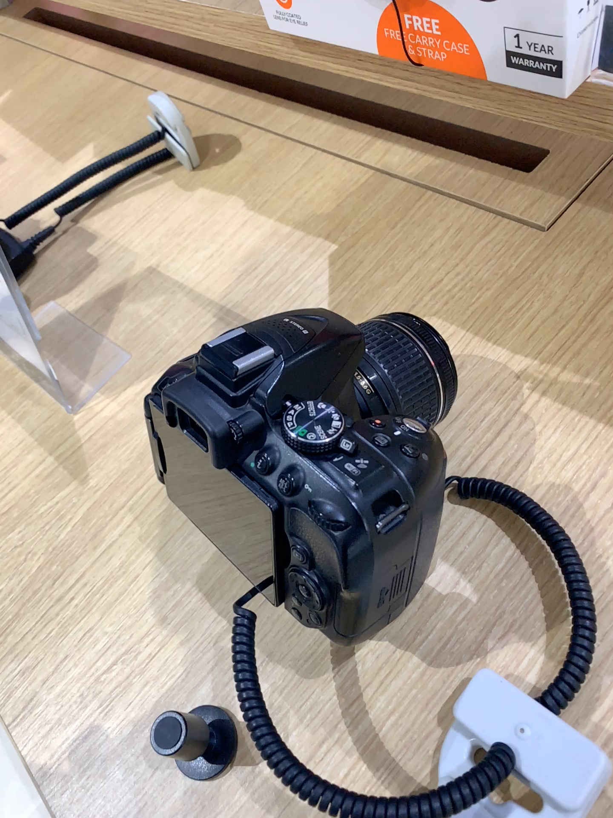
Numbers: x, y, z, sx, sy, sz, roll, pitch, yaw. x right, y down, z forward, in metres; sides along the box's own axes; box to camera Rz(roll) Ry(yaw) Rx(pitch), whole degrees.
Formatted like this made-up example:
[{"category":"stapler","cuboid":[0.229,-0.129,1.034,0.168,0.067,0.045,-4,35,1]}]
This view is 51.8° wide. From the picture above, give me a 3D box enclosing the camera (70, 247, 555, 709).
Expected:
[{"category":"camera","cuboid":[-0.001,0.012,0.246,0.110,0.080,0.130,-31,48,-31]}]
